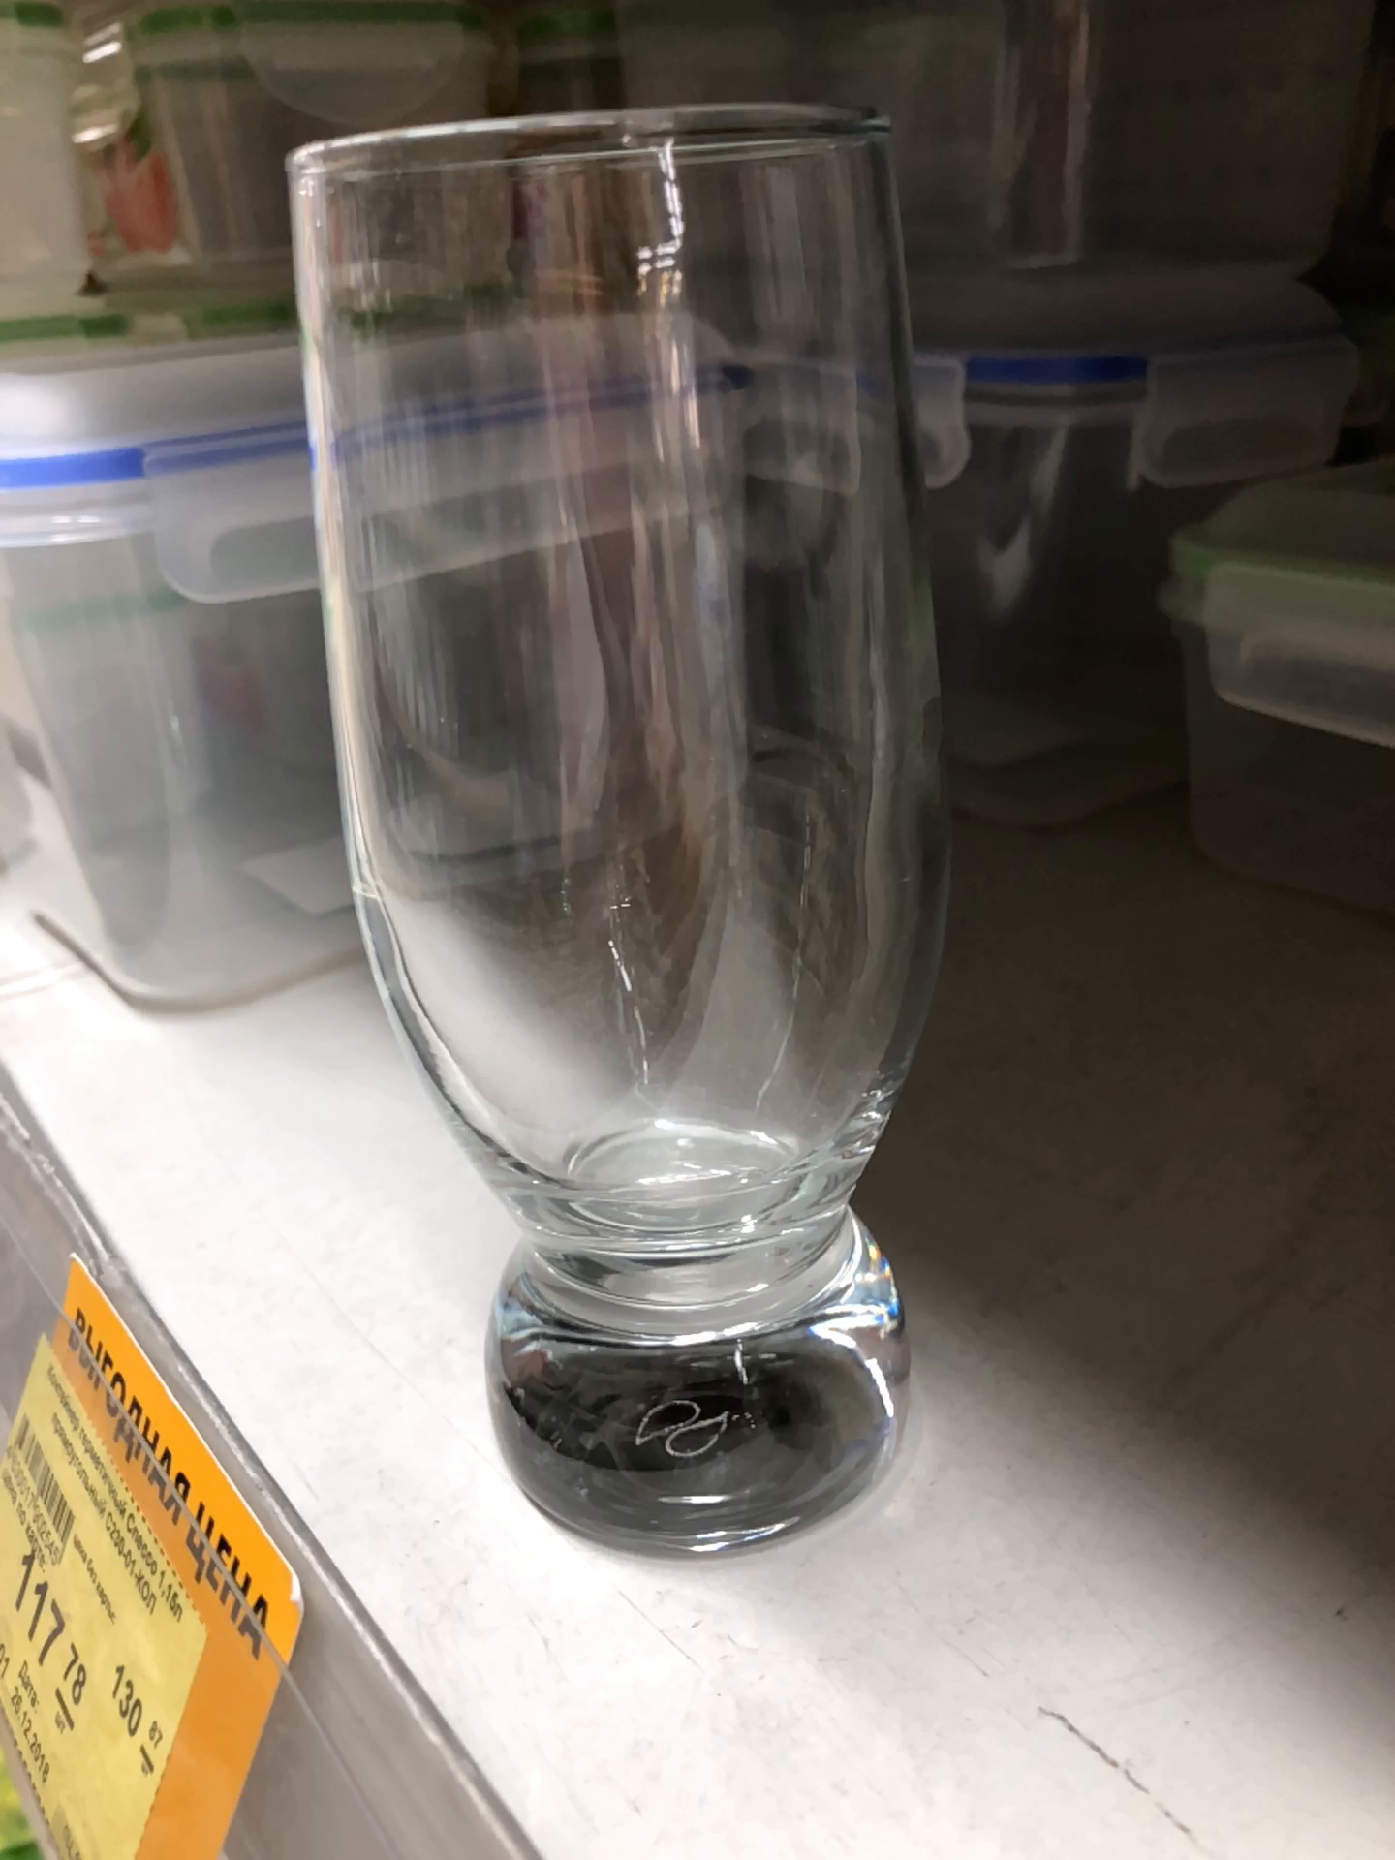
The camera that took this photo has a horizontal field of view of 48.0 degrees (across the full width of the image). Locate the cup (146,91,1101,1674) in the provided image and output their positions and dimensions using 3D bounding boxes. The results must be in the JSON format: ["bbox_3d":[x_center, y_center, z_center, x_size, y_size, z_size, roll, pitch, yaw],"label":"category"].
[{"bbox_3d":[-0.004,-0.007,0.173,0.069,0.146,0.057,-17,27,-26],"label":"cup"}]
